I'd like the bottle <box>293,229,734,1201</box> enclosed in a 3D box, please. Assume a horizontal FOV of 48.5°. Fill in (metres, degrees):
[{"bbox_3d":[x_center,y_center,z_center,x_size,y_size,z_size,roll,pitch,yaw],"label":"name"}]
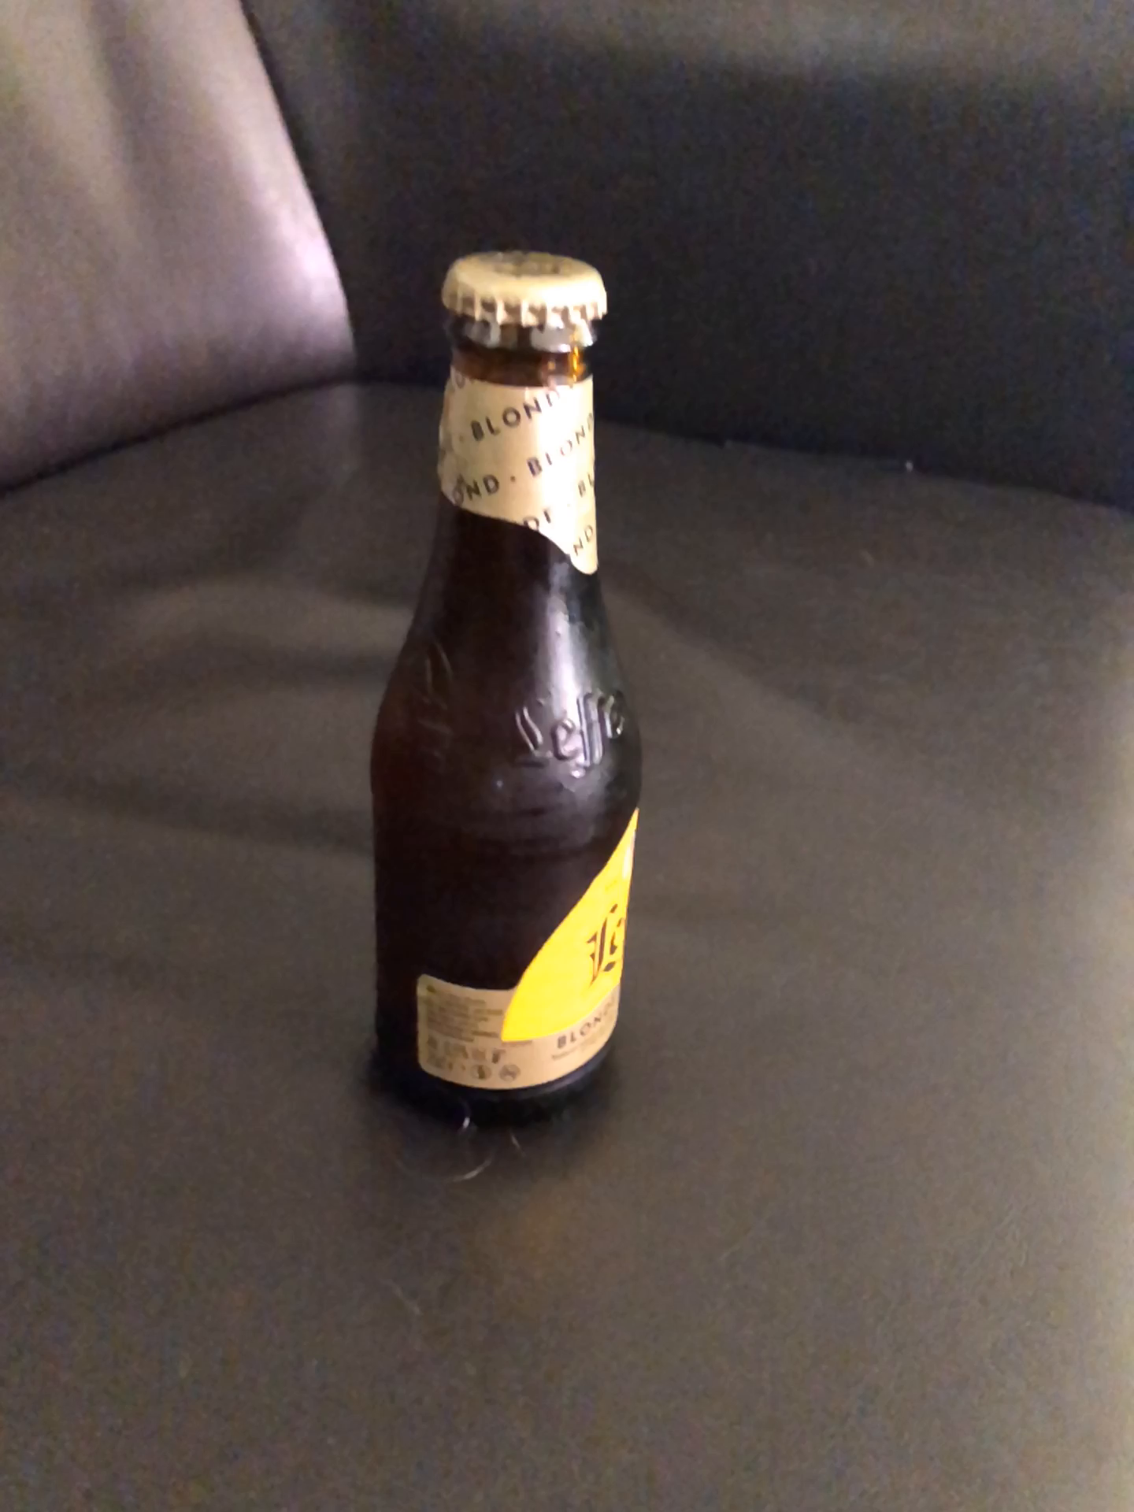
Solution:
[{"bbox_3d":[-0.013,0.000,0.261,0.060,0.189,0.060,4,33,-3],"label":"bottle"}]
